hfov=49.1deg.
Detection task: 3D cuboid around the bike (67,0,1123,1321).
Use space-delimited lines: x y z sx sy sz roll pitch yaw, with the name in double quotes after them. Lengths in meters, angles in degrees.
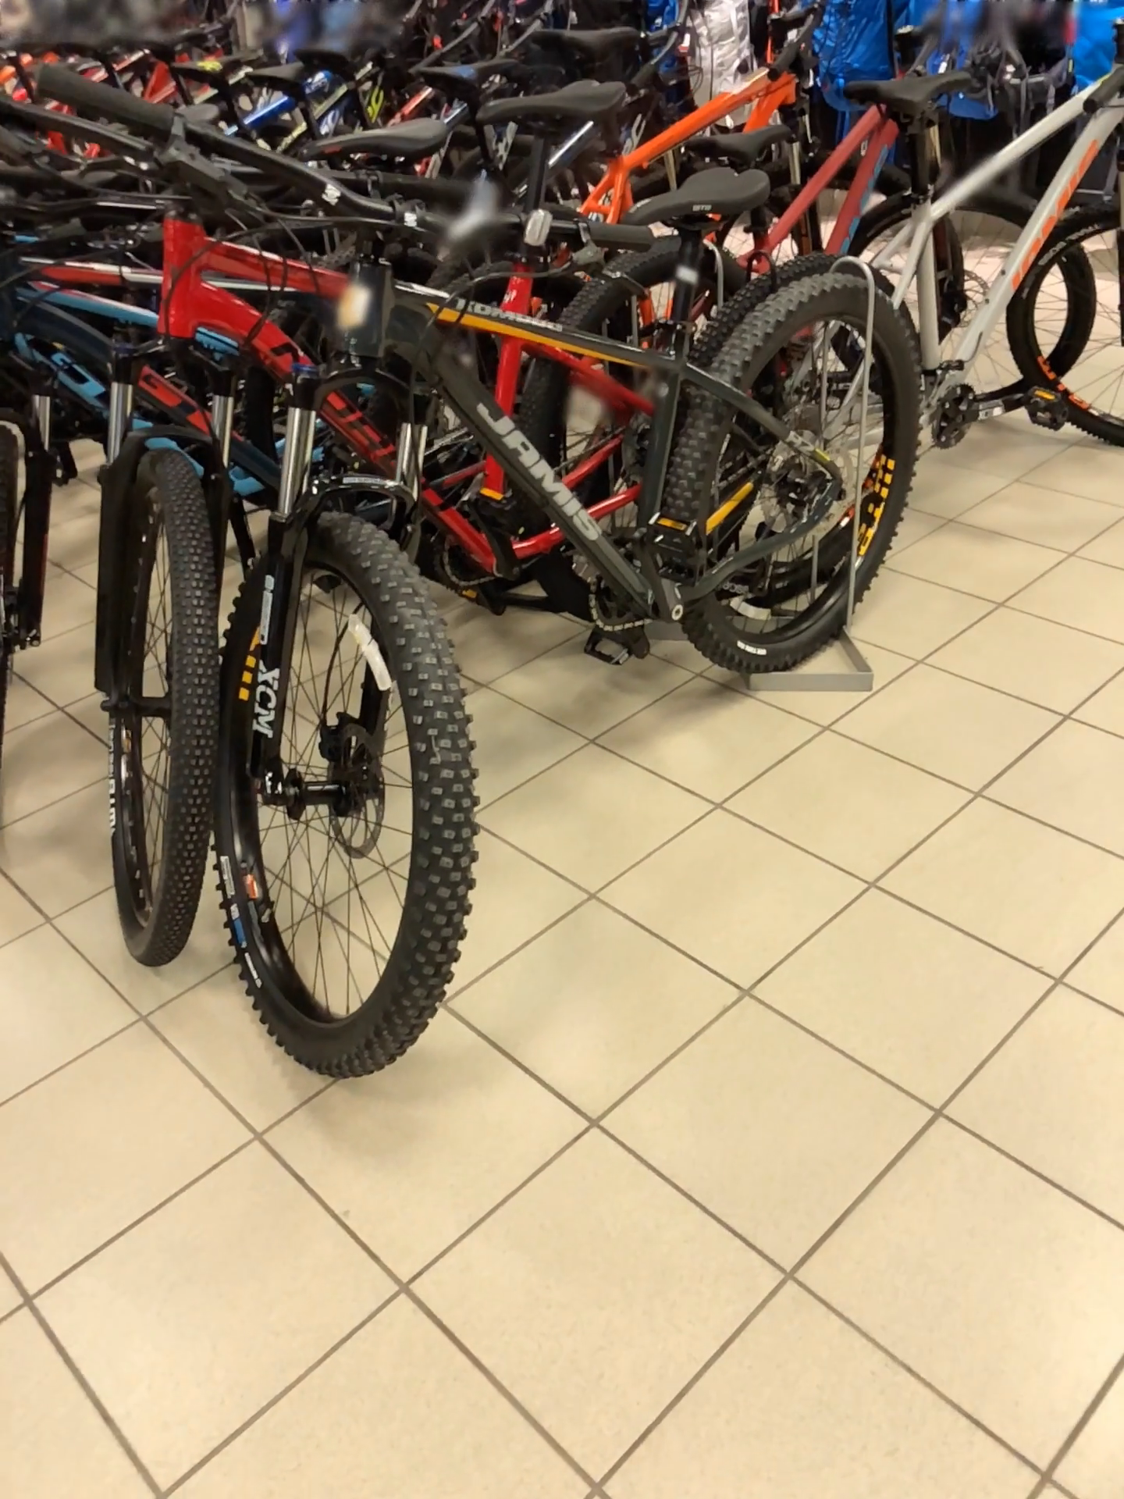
0.252 -0.392 1.822 0.809 1.165 1.549 18 41 30 "bike"
